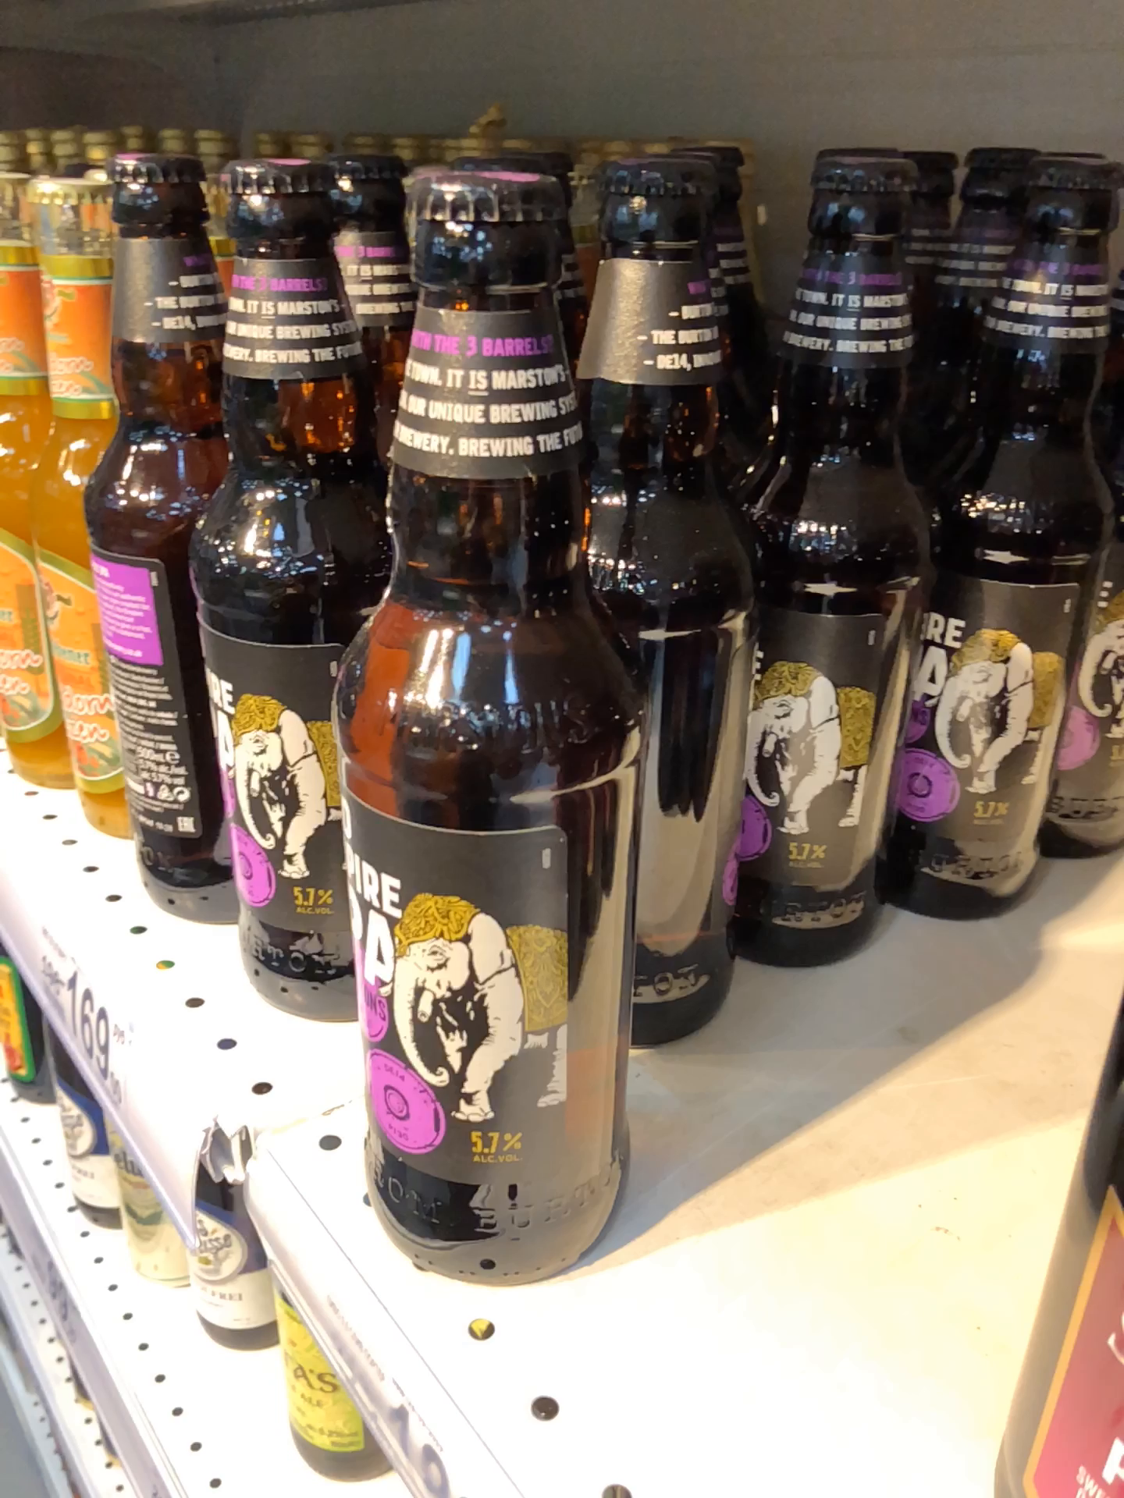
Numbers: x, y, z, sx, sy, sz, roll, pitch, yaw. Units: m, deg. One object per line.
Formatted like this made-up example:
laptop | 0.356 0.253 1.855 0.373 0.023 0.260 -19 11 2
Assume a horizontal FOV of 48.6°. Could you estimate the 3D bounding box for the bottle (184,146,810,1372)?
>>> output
bottle | -0.016 0.003 0.268 0.080 0.239 0.080 1 26 0
